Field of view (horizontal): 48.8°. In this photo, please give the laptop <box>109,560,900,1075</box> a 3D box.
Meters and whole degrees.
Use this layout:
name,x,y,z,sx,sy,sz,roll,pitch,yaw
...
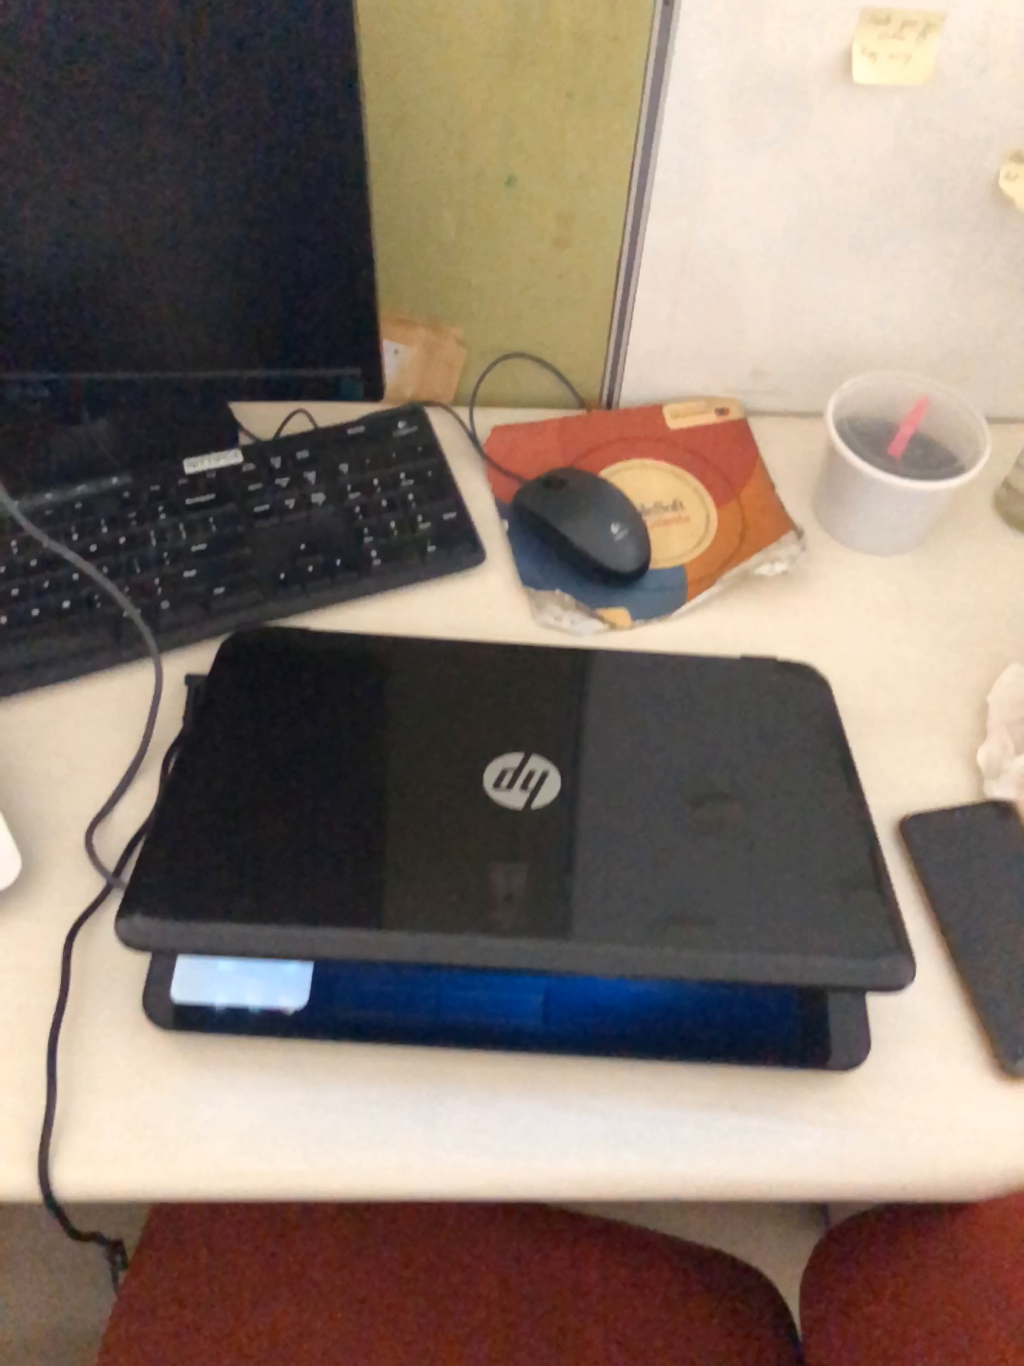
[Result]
name,x,y,z,sx,sy,sz,roll,pitch,yaw
laptop,0.004,0.063,0.597,0.350,0.072,0.246,4,56,0
